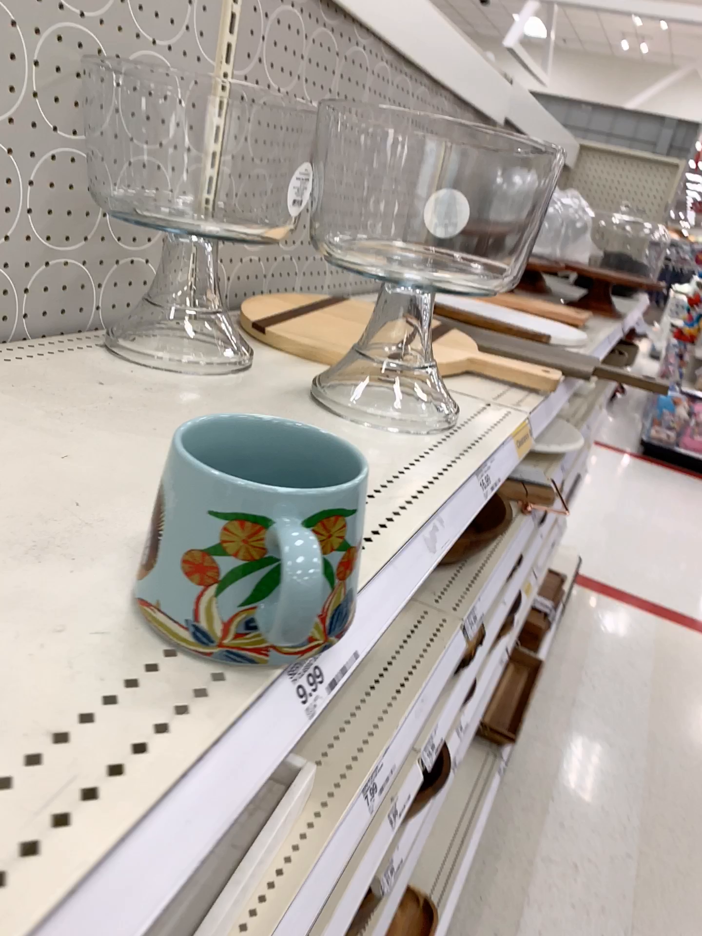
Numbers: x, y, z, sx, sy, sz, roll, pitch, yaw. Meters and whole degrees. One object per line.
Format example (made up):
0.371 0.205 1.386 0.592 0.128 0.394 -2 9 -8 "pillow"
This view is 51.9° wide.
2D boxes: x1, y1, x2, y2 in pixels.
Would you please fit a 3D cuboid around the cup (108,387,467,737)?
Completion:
-0.038 0.036 0.331 0.120 0.090 0.141 6 23 -16 "cup"
